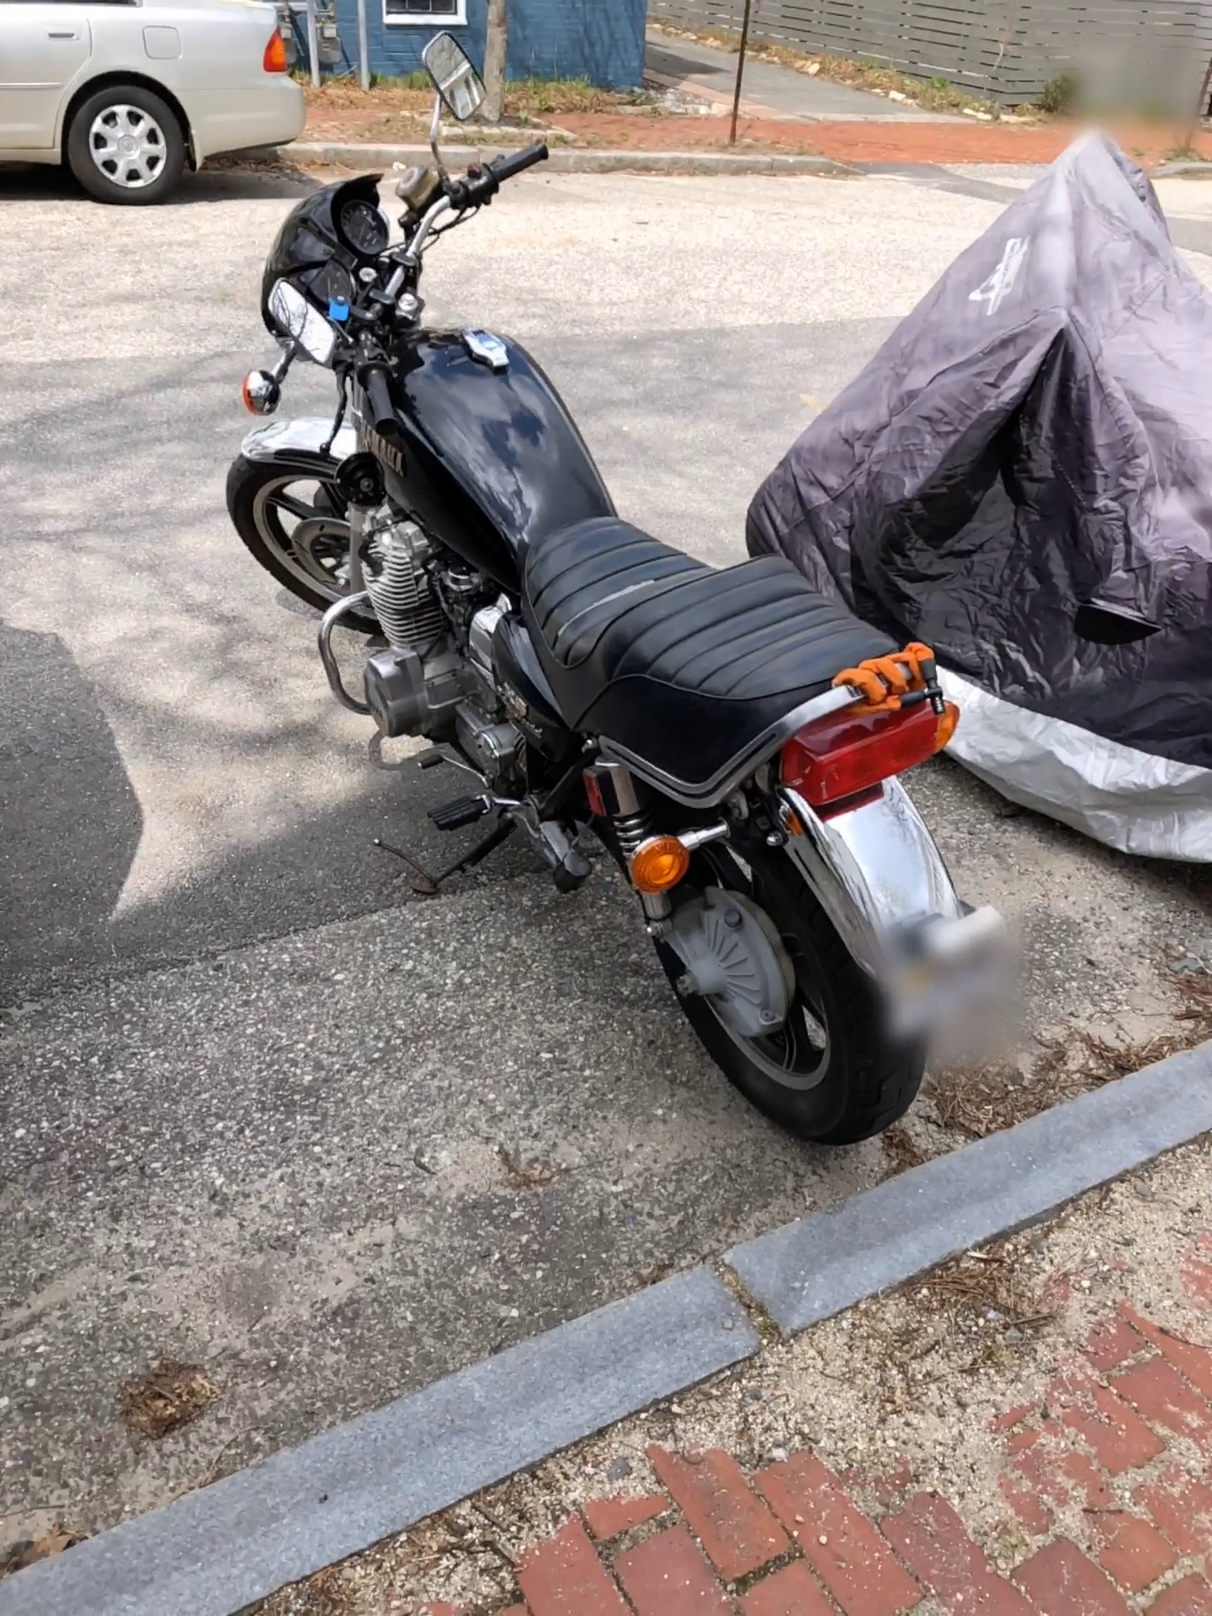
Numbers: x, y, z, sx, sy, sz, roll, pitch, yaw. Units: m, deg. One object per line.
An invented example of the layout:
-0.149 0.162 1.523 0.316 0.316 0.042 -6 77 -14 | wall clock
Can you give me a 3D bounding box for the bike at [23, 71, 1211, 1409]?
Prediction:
-0.265 -0.389 2.417 0.687 1.418 2.306 -18 40 -28 | bike
